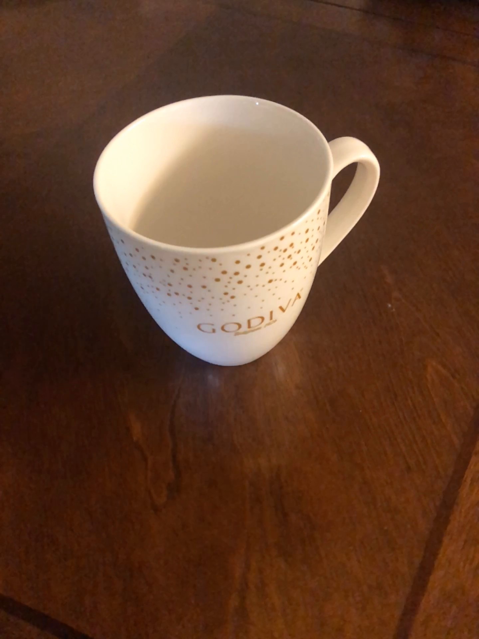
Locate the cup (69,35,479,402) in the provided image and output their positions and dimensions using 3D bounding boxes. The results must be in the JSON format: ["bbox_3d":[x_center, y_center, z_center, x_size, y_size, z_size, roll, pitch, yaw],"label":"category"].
[{"bbox_3d":[0.011,-0.050,0.261,0.140,0.099,0.100,-21,57,-12],"label":"cup"}]
